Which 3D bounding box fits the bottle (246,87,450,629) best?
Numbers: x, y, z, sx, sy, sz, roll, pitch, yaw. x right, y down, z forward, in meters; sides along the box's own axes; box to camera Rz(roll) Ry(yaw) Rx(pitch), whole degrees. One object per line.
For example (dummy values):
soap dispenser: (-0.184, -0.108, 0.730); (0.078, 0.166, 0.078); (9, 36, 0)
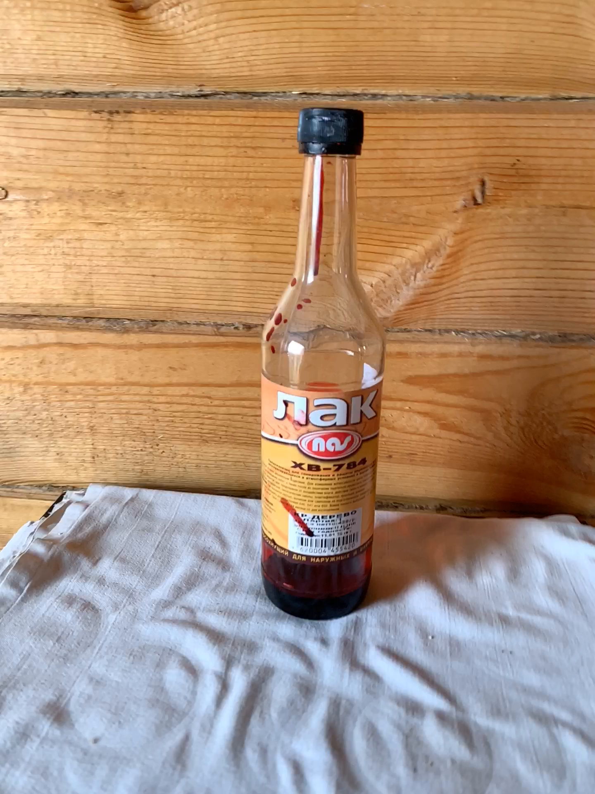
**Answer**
bottle: (0.015, -0.012, 0.320); (0.080, 0.258, 0.070); (0, 19, -6)
